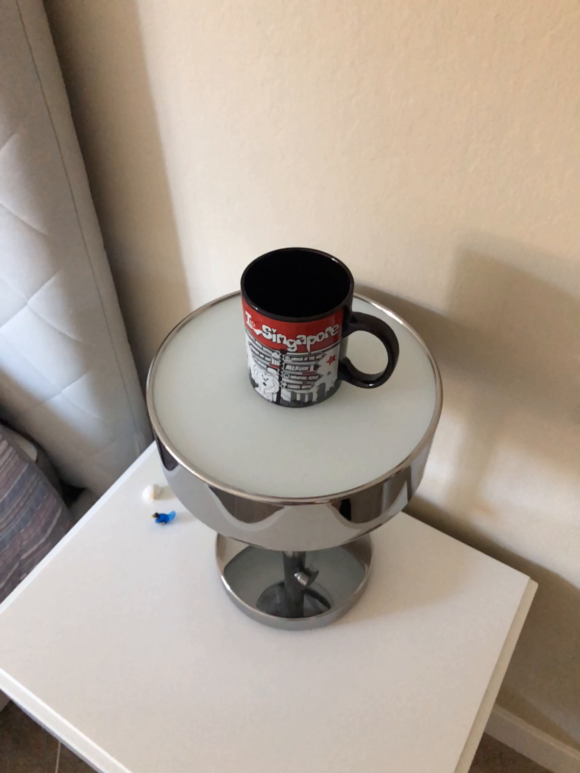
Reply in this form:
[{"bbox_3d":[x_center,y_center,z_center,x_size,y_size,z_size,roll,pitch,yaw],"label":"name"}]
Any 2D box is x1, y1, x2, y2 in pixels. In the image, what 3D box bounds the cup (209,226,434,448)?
[{"bbox_3d":[0.024,-0.037,0.470,0.130,0.100,0.090,16,50,13],"label":"cup"}]
